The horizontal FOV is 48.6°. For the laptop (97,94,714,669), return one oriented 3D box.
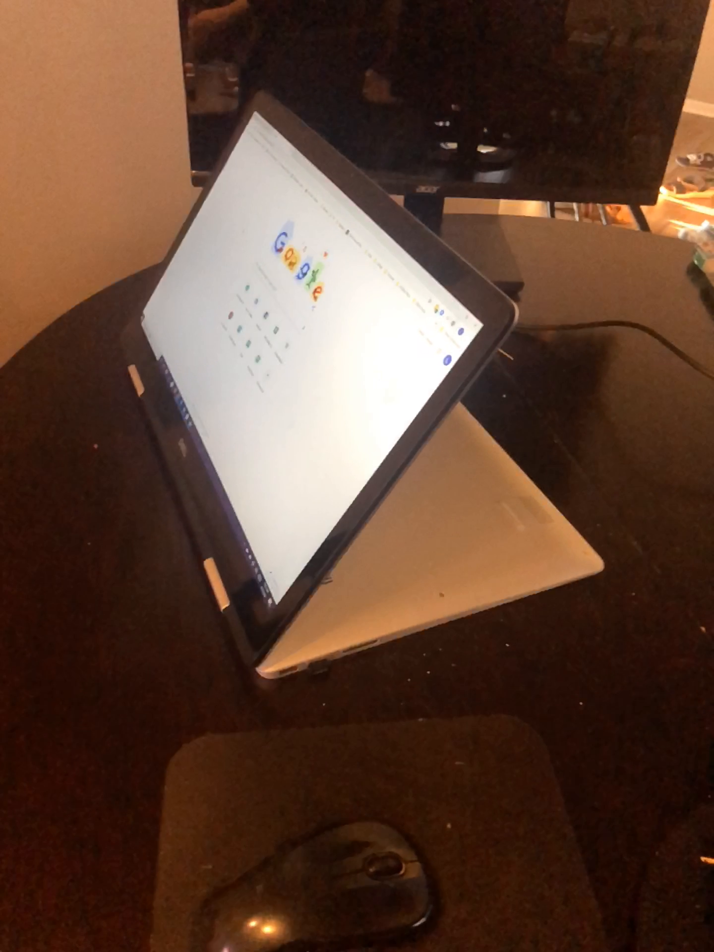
[{"bbox_3d":[-0.014,-0.116,0.619,0.267,0.232,0.420,-12,42,-19],"label":"laptop"}]
